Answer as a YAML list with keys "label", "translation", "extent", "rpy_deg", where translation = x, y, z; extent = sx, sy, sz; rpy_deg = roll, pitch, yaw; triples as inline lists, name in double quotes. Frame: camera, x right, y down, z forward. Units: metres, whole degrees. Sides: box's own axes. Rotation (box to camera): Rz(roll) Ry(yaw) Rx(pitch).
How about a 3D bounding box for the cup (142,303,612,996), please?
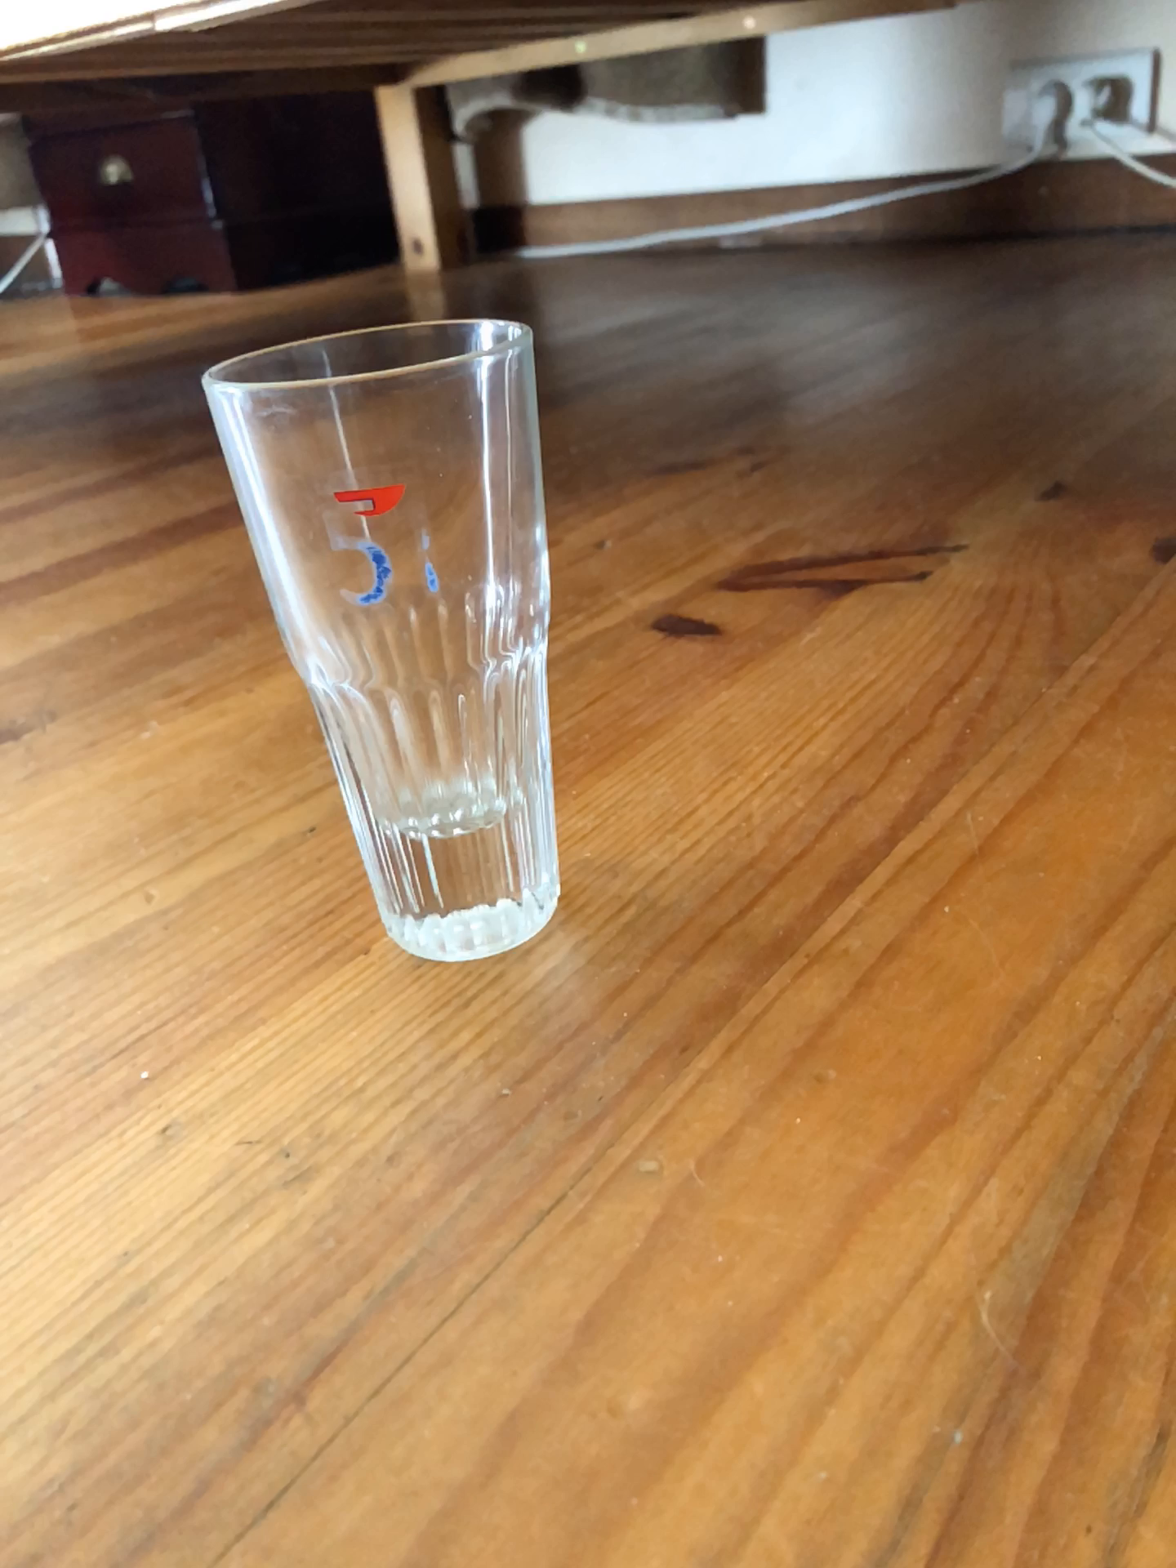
- label: "cup"
  translation: [-0.034, -0.028, 0.264]
  extent: [0.064, 0.117, 0.069]
  rpy_deg: [-6, 26, 3]
